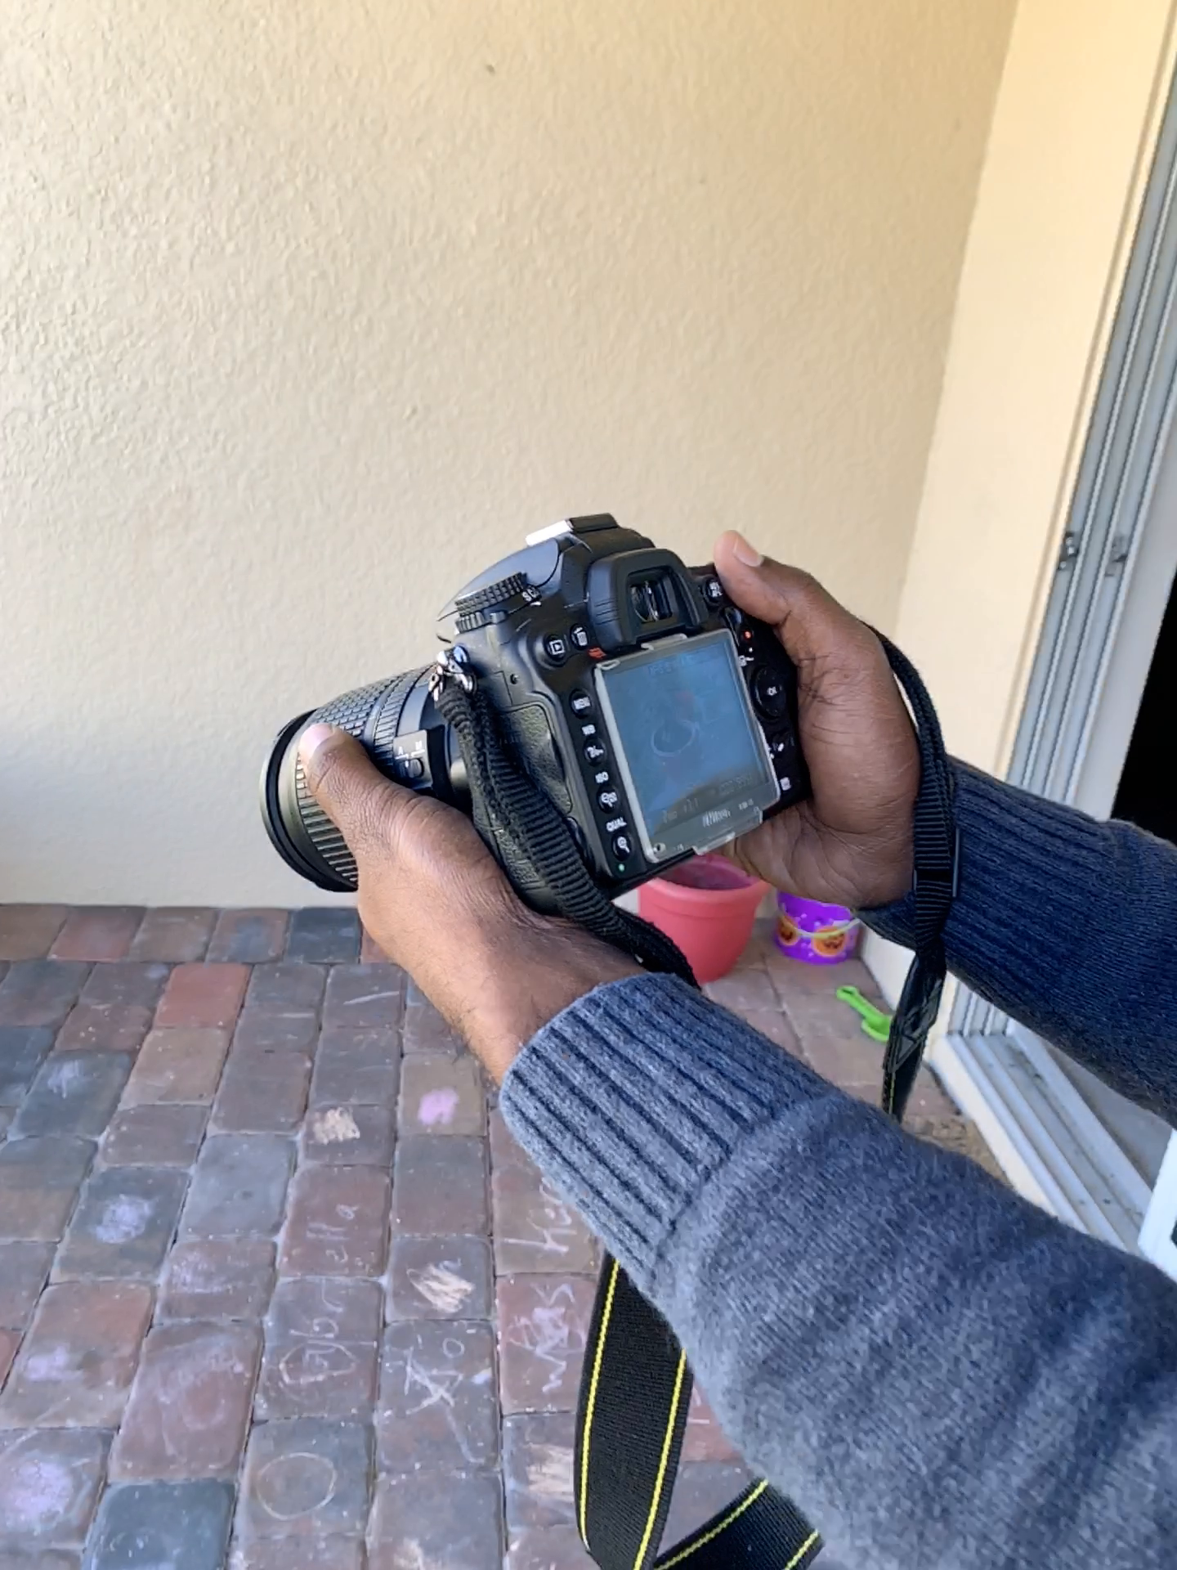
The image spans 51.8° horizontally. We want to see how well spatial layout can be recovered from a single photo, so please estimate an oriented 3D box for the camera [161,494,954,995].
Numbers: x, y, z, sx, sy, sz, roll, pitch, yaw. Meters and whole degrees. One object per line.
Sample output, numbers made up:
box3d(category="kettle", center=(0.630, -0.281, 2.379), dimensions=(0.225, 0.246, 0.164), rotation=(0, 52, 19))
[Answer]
box3d(category="camera", center=(-0.015, -0.008, 0.387), dimensions=(0.199, 0.100, 0.131), rotation=(-12, 5, 42))
